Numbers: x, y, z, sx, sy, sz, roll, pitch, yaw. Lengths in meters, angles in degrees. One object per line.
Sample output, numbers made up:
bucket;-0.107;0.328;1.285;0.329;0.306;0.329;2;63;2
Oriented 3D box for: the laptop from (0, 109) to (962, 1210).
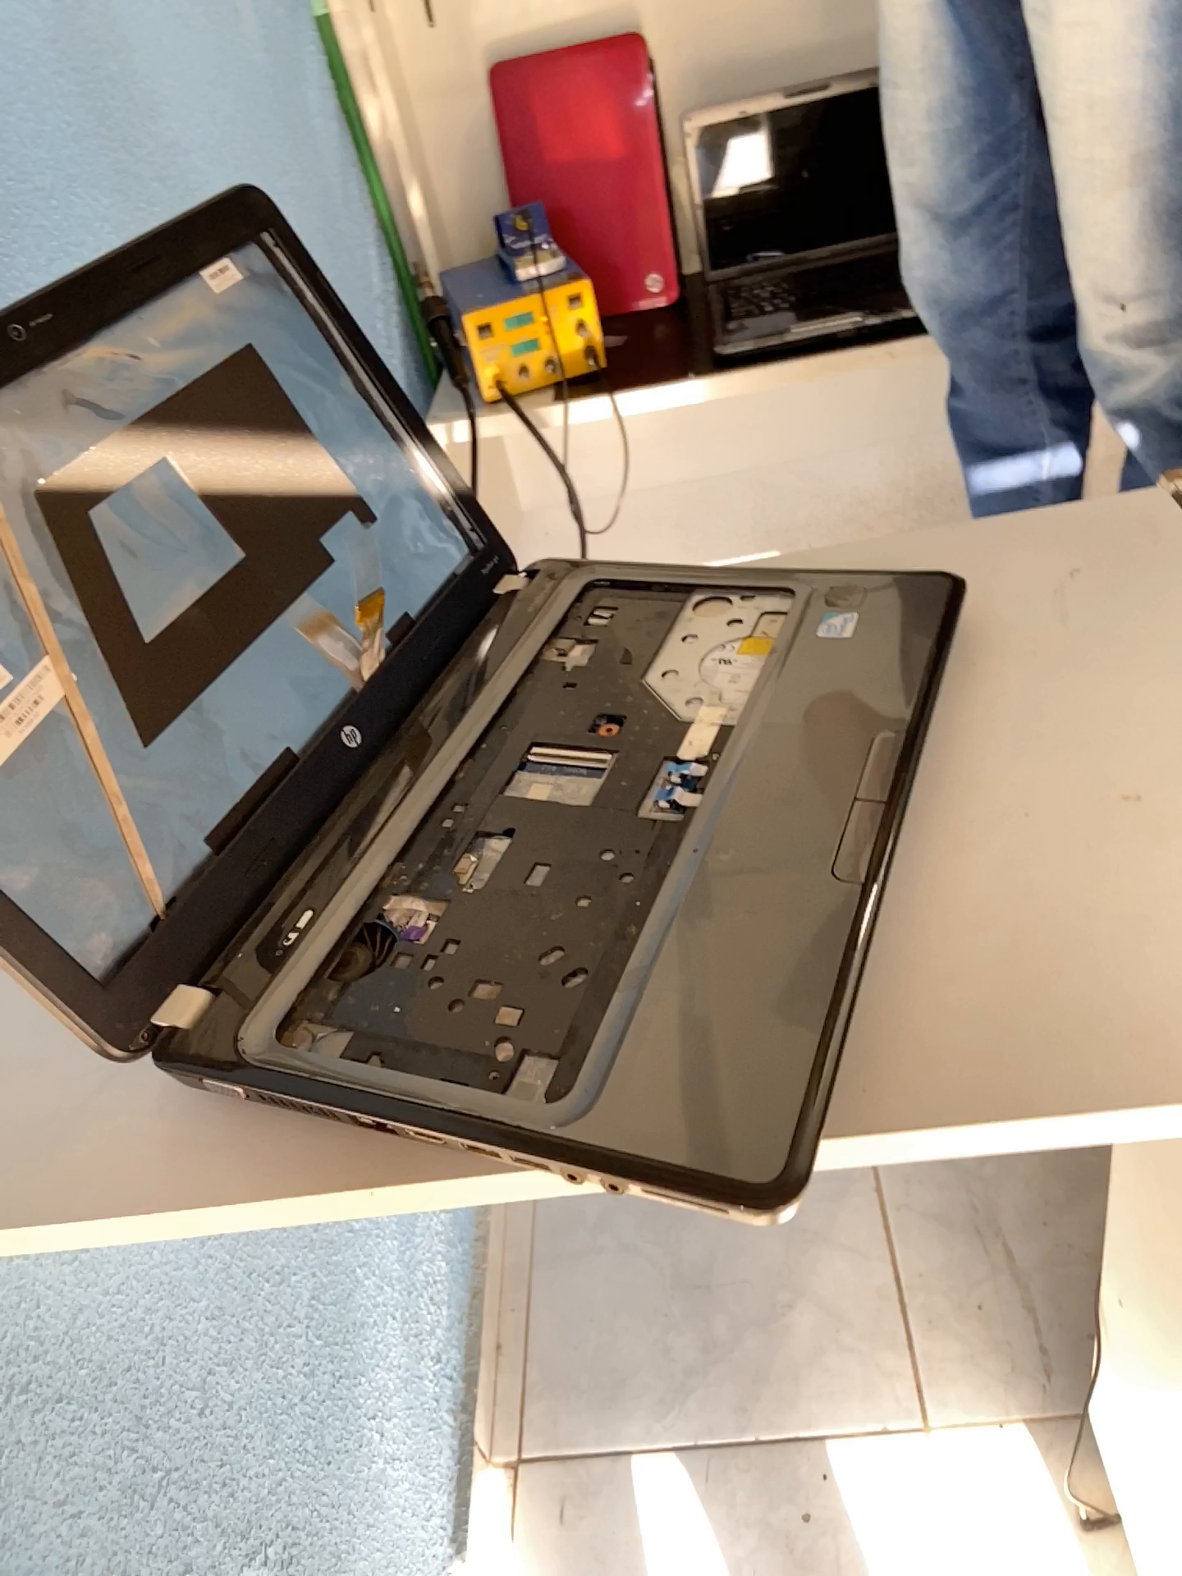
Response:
laptop;-0.058;-0.084;0.452;0.323;0.194;0.336;6;42;24
